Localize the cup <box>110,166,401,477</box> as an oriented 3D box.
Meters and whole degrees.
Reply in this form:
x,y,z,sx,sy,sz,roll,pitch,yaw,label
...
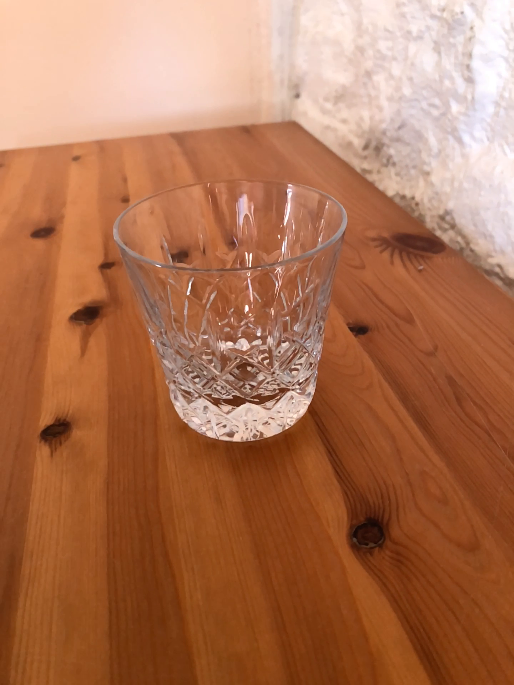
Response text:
x,y,z,sx,sy,sz,roll,pitch,yaw,label
-0.004,-0.012,0.199,0.076,0.068,0.078,-3,34,2,cup
